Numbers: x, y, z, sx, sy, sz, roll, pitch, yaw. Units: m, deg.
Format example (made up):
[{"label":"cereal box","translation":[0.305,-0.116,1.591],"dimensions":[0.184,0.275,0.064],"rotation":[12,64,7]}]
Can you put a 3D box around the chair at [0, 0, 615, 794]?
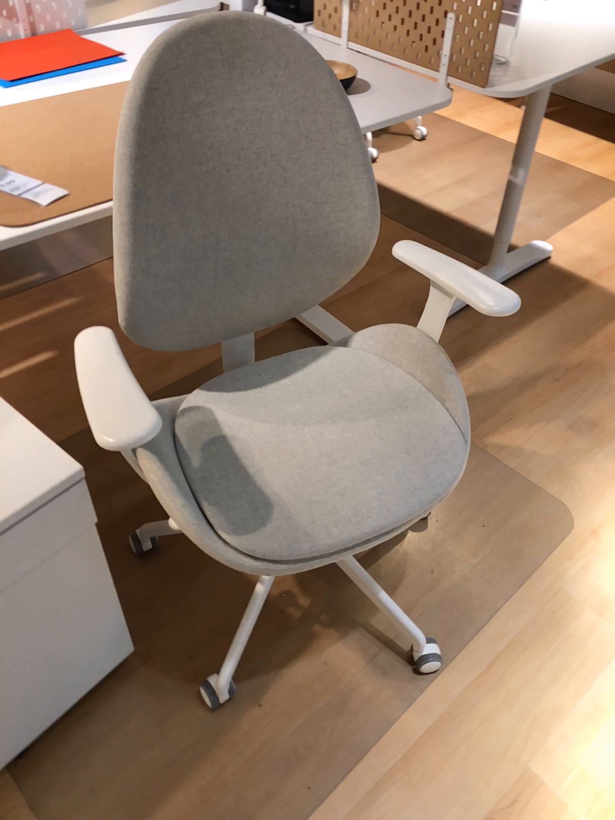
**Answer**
[{"label":"chair","translation":[0.008,-0.049,1.080],"dimensions":[0.651,0.914,0.704],"rotation":[-20,48,-23]}]
